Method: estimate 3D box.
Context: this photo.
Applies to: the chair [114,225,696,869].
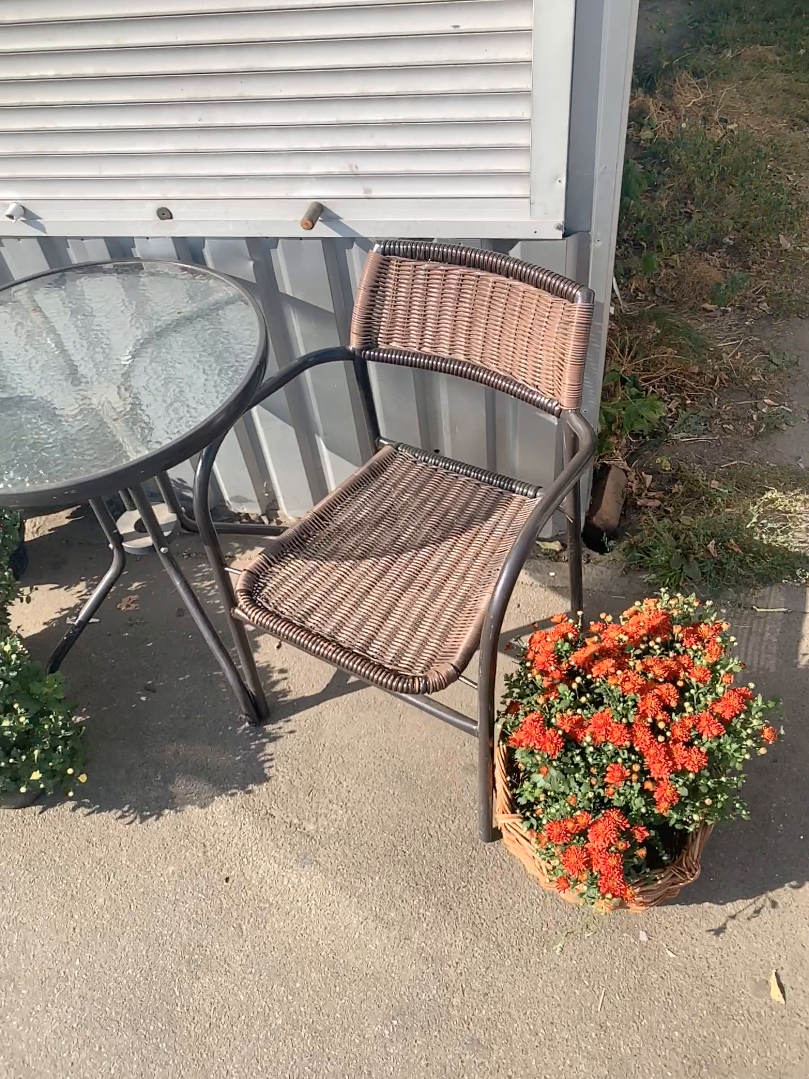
[{"bbox_3d":[0.062,-0.004,1.440,0.571,0.717,0.692,19,53,23],"label":"chair"}]
